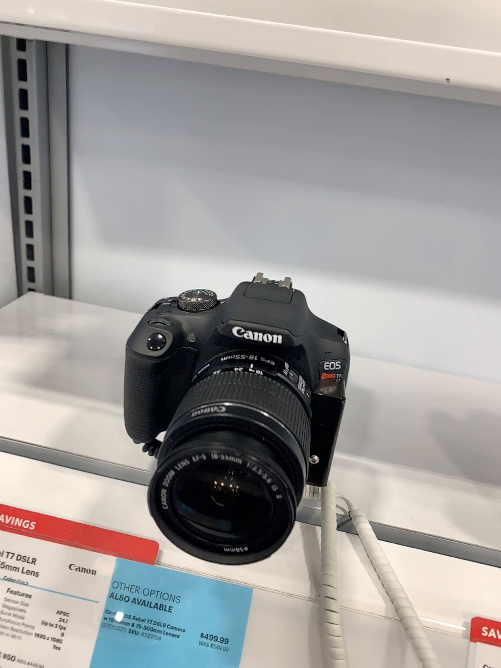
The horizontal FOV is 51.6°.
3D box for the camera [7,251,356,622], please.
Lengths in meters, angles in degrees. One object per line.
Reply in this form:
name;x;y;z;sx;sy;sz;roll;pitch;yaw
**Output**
camera;-0.020;0.035;0.264;0.125;0.100;0.141;10;26;6
